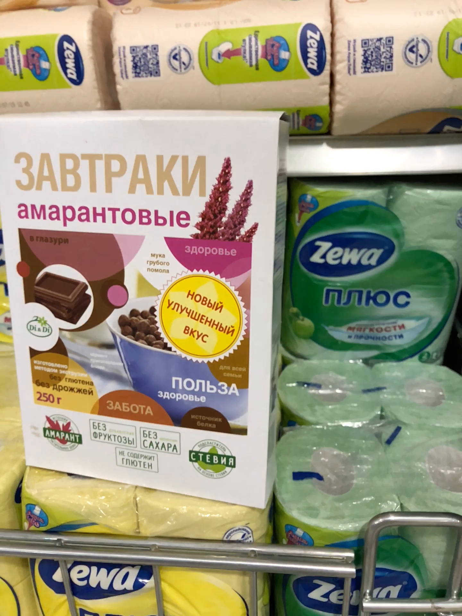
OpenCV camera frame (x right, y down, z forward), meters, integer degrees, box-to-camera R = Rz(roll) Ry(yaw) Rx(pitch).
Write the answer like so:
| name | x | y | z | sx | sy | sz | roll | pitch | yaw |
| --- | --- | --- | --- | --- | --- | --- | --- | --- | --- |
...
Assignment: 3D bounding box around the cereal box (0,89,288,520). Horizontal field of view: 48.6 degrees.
| name | x | y | z | sx | sy | sz | roll | pitch | yaw |
| --- | --- | --- | --- | --- | --- | --- | --- | --- | --- |
| cereal box | -0.063 | -0.001 | 0.356 | 0.190 | 0.269 | 0.050 | 4 | 16 | 14 |
